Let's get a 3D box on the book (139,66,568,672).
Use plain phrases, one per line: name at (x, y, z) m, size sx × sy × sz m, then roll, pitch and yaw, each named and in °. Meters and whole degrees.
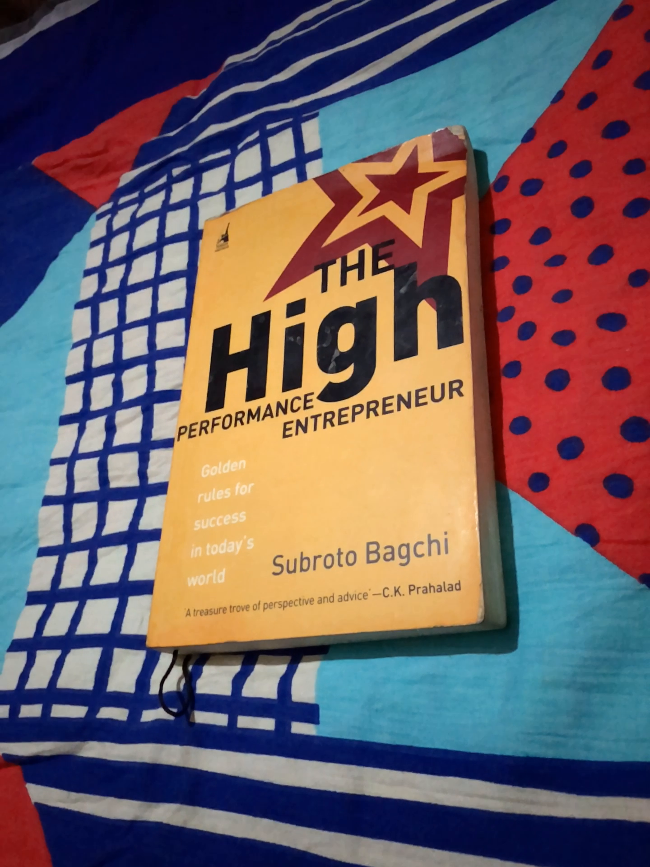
book at (0.007, -0.030, 0.298) m, size 0.140 × 0.040 × 0.230 m, roll -15°, pitch 57°, yaw 27°
